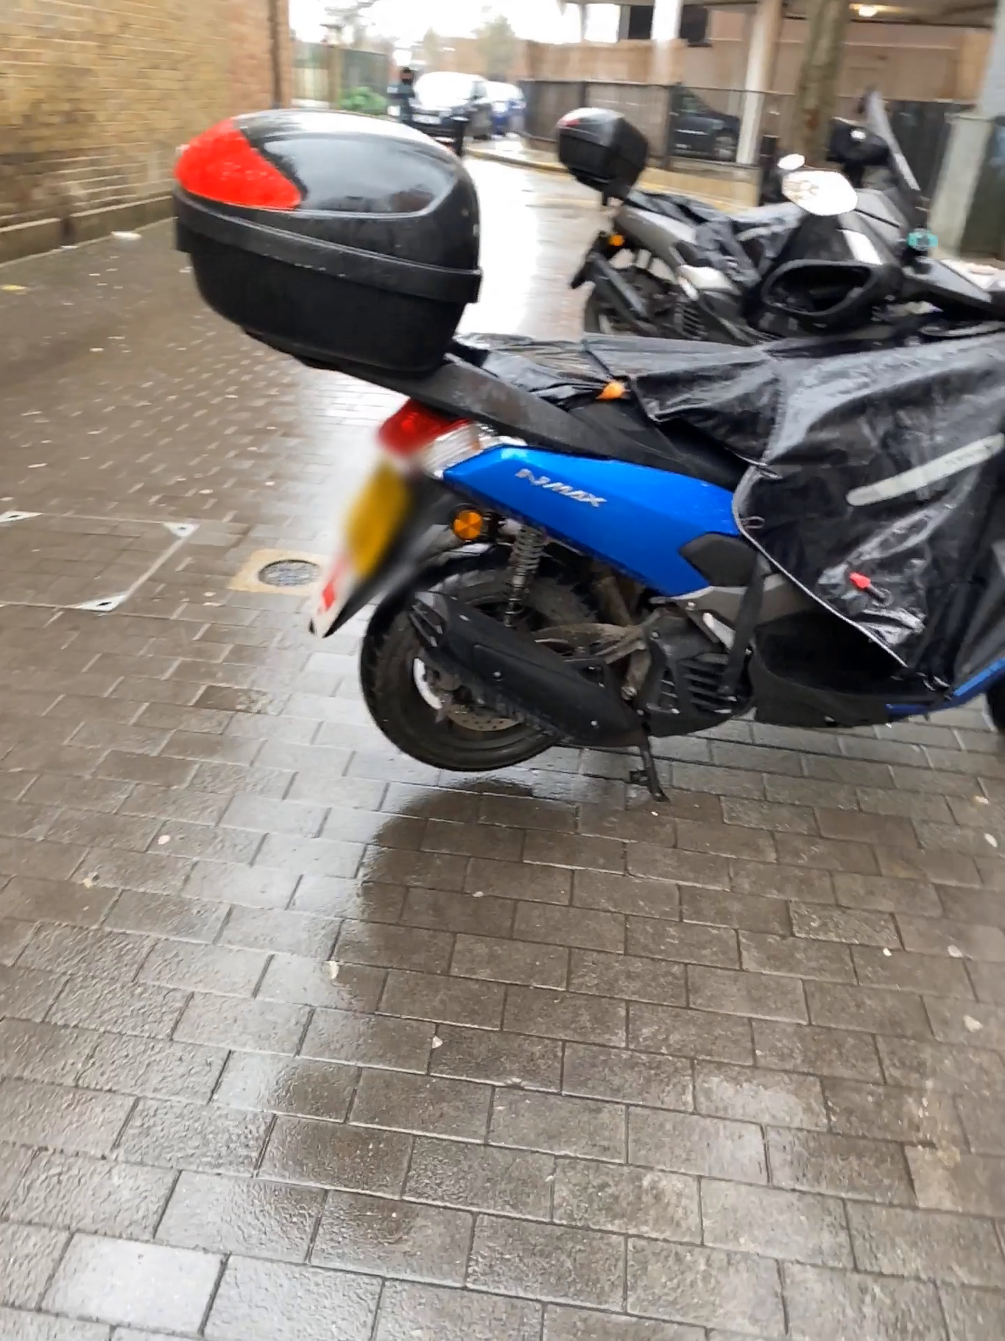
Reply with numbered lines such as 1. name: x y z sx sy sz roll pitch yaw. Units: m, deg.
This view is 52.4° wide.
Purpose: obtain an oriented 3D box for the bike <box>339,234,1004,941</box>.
1. bike: 0.600 -0.244 1.986 1.732 0.998 0.681 -6 30 -17
